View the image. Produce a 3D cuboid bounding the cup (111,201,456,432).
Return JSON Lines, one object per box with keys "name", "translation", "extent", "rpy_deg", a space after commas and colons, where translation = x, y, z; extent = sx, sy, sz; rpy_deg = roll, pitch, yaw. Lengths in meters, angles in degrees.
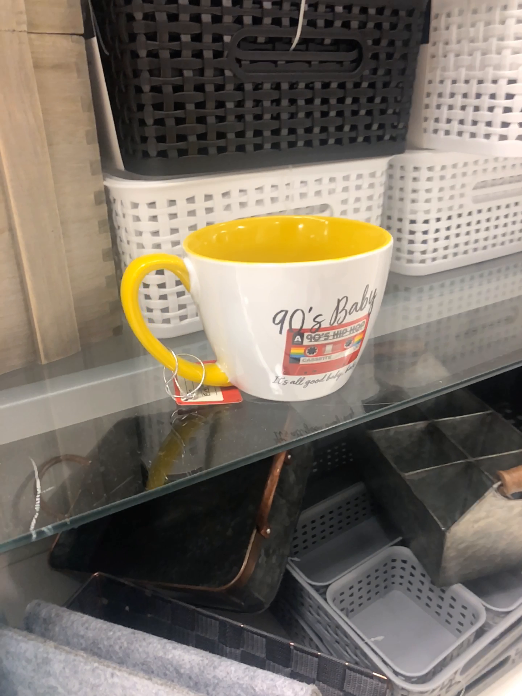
{"name": "cup", "translation": [0.008, -0.033, 0.349], "extent": [0.157, 0.076, 0.127], "rpy_deg": [-12, 28, -26]}
